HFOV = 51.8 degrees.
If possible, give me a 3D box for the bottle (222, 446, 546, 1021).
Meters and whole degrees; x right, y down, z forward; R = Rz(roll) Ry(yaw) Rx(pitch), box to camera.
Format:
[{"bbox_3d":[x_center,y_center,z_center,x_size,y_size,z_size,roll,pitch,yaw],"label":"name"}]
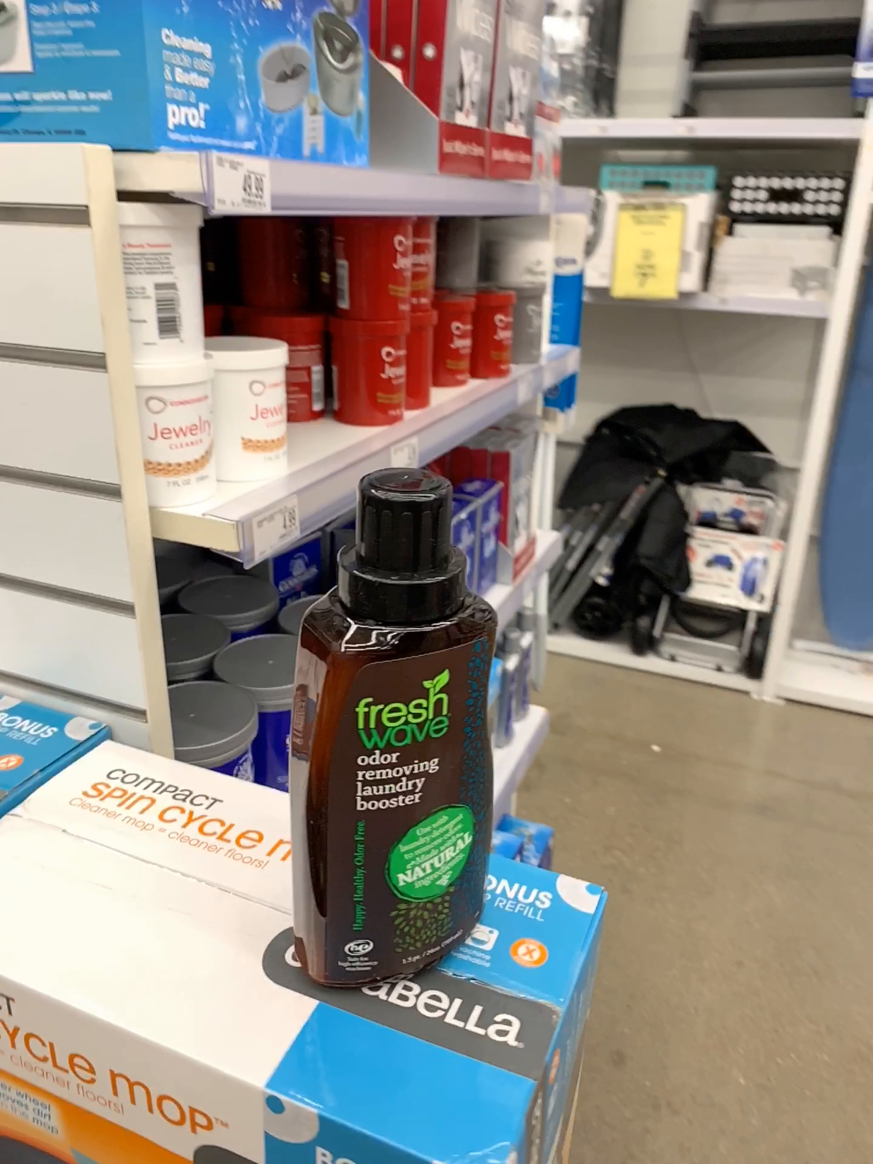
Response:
[{"bbox_3d":[-0.023,0.059,0.373,0.100,0.209,0.070,-10,25,-26],"label":"bottle"}]
